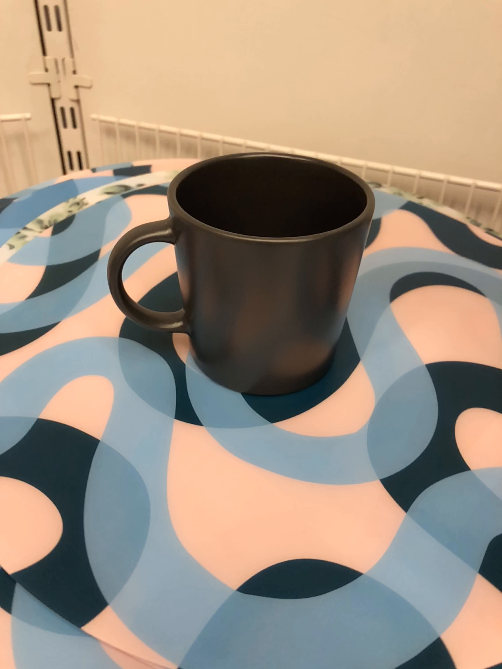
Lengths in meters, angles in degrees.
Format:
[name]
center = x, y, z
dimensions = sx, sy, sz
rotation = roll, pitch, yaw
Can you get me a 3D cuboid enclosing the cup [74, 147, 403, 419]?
[cup]
center = -0.010, -0.029, 0.266
dimensions = 0.120, 0.090, 0.090
rotation = -3, 37, -7
